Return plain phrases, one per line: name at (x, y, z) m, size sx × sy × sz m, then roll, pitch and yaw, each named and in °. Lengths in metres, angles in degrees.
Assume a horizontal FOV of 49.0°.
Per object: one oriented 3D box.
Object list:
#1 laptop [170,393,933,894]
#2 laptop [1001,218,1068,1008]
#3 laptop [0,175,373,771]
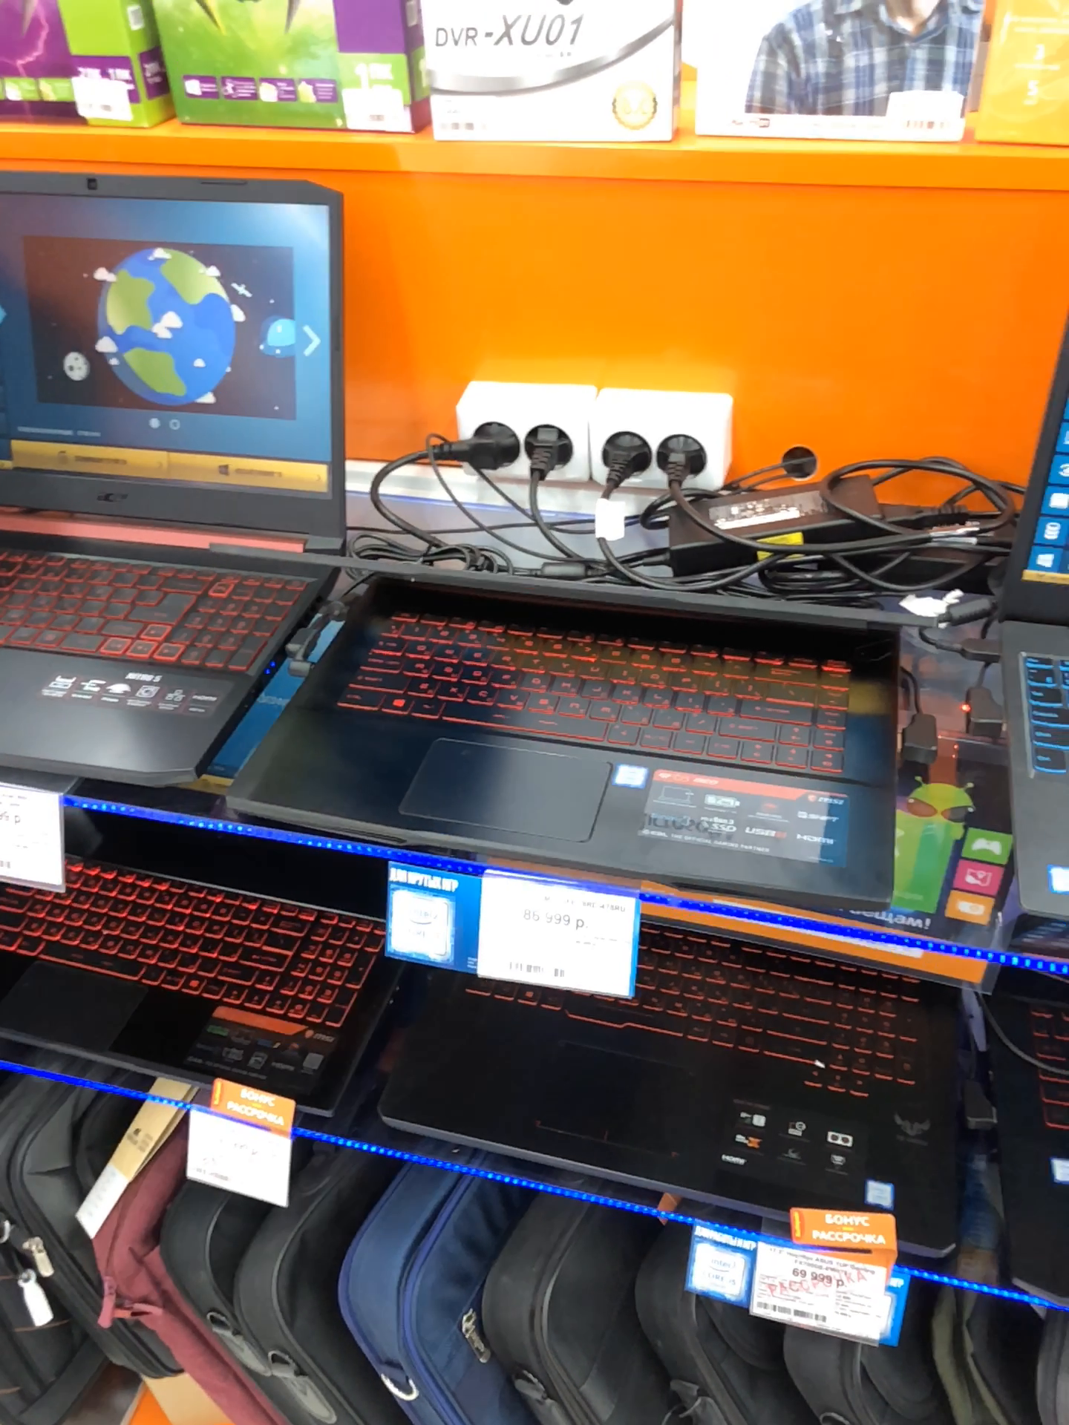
laptop at (0.027, -0.055, 0.646) m, size 0.347 × 0.134 × 0.226 m, roll 7°, pitch 39°, yaw 12°
laptop at (0.428, -0.067, 0.541) m, size 0.326 × 0.228 × 0.279 m, roll 8°, pitch 39°, yaw 18°
laptop at (-0.343, -0.178, 0.754) m, size 0.365 × 0.225 × 0.331 m, roll 7°, pitch 39°, yaw 12°
